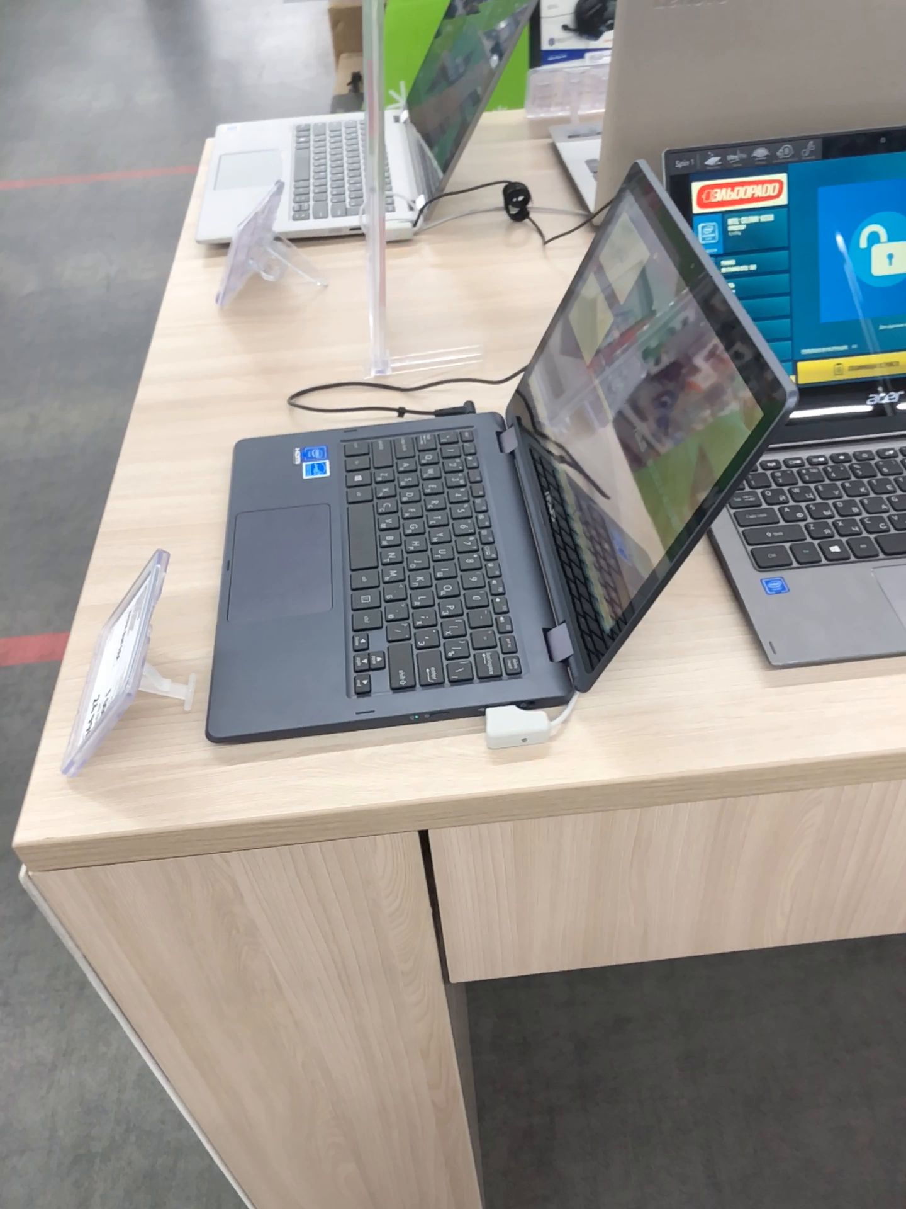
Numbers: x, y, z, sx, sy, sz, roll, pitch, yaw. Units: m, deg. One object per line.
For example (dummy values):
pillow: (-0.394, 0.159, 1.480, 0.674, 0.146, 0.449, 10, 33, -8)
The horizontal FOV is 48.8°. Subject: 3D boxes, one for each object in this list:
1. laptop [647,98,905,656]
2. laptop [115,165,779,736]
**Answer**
laptop: (0.284, -0.148, 0.588, 0.261, 0.162, 0.300, -6, 44, 0)
laptop: (-0.009, -0.100, 0.571, 0.280, 0.166, 0.271, -7, 44, -1)
